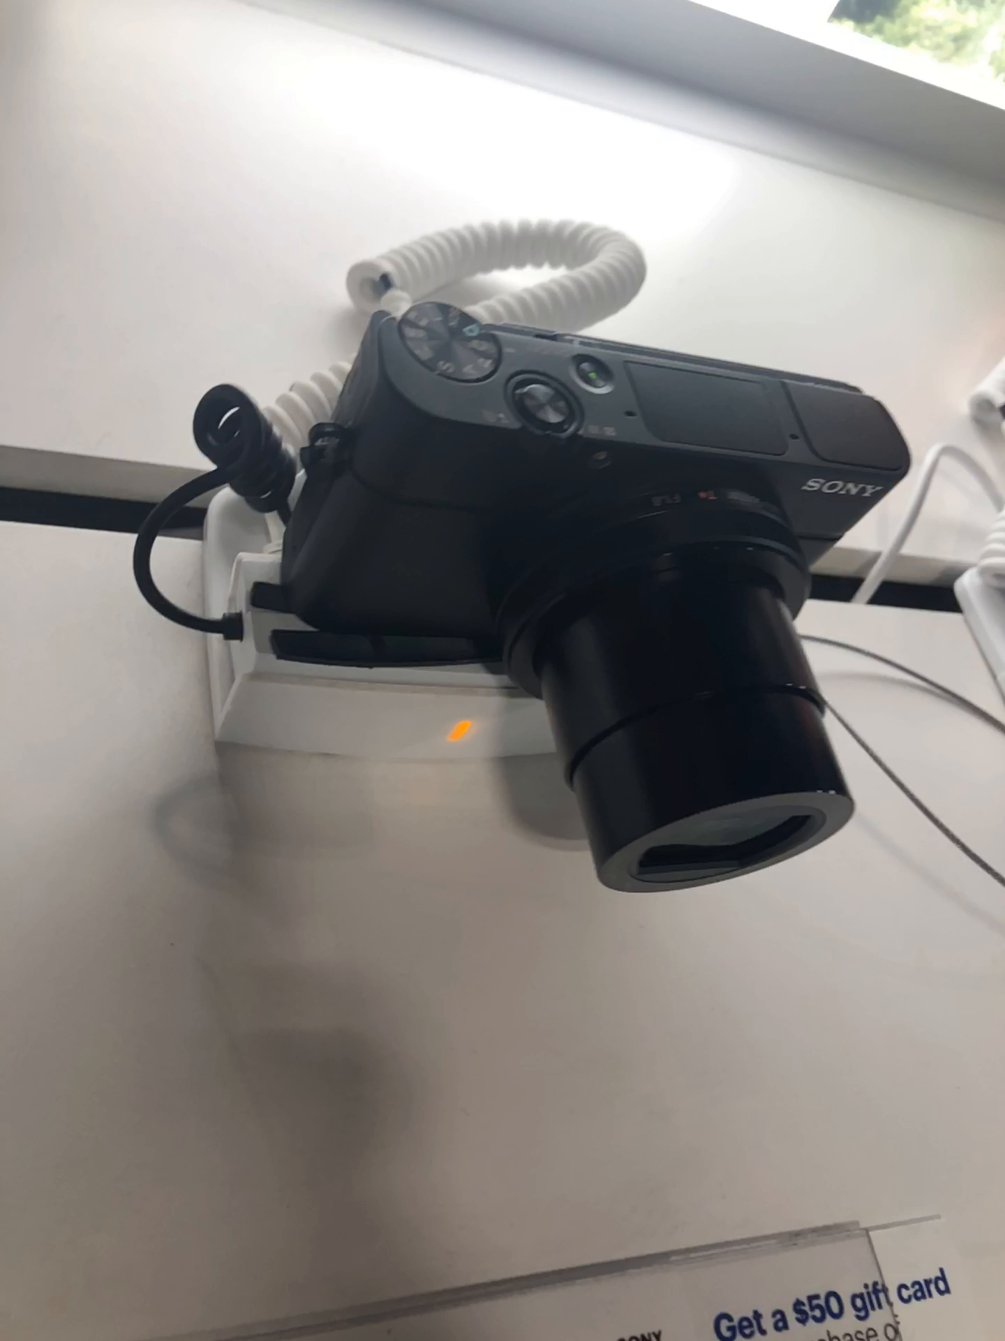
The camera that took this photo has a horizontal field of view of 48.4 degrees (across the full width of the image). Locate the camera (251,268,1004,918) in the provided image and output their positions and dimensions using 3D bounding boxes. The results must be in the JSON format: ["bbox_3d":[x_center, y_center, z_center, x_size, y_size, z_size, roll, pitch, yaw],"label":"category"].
[{"bbox_3d":[0.018,-0.007,0.194,0.105,0.074,0.070,3,55,-24],"label":"camera"}]
